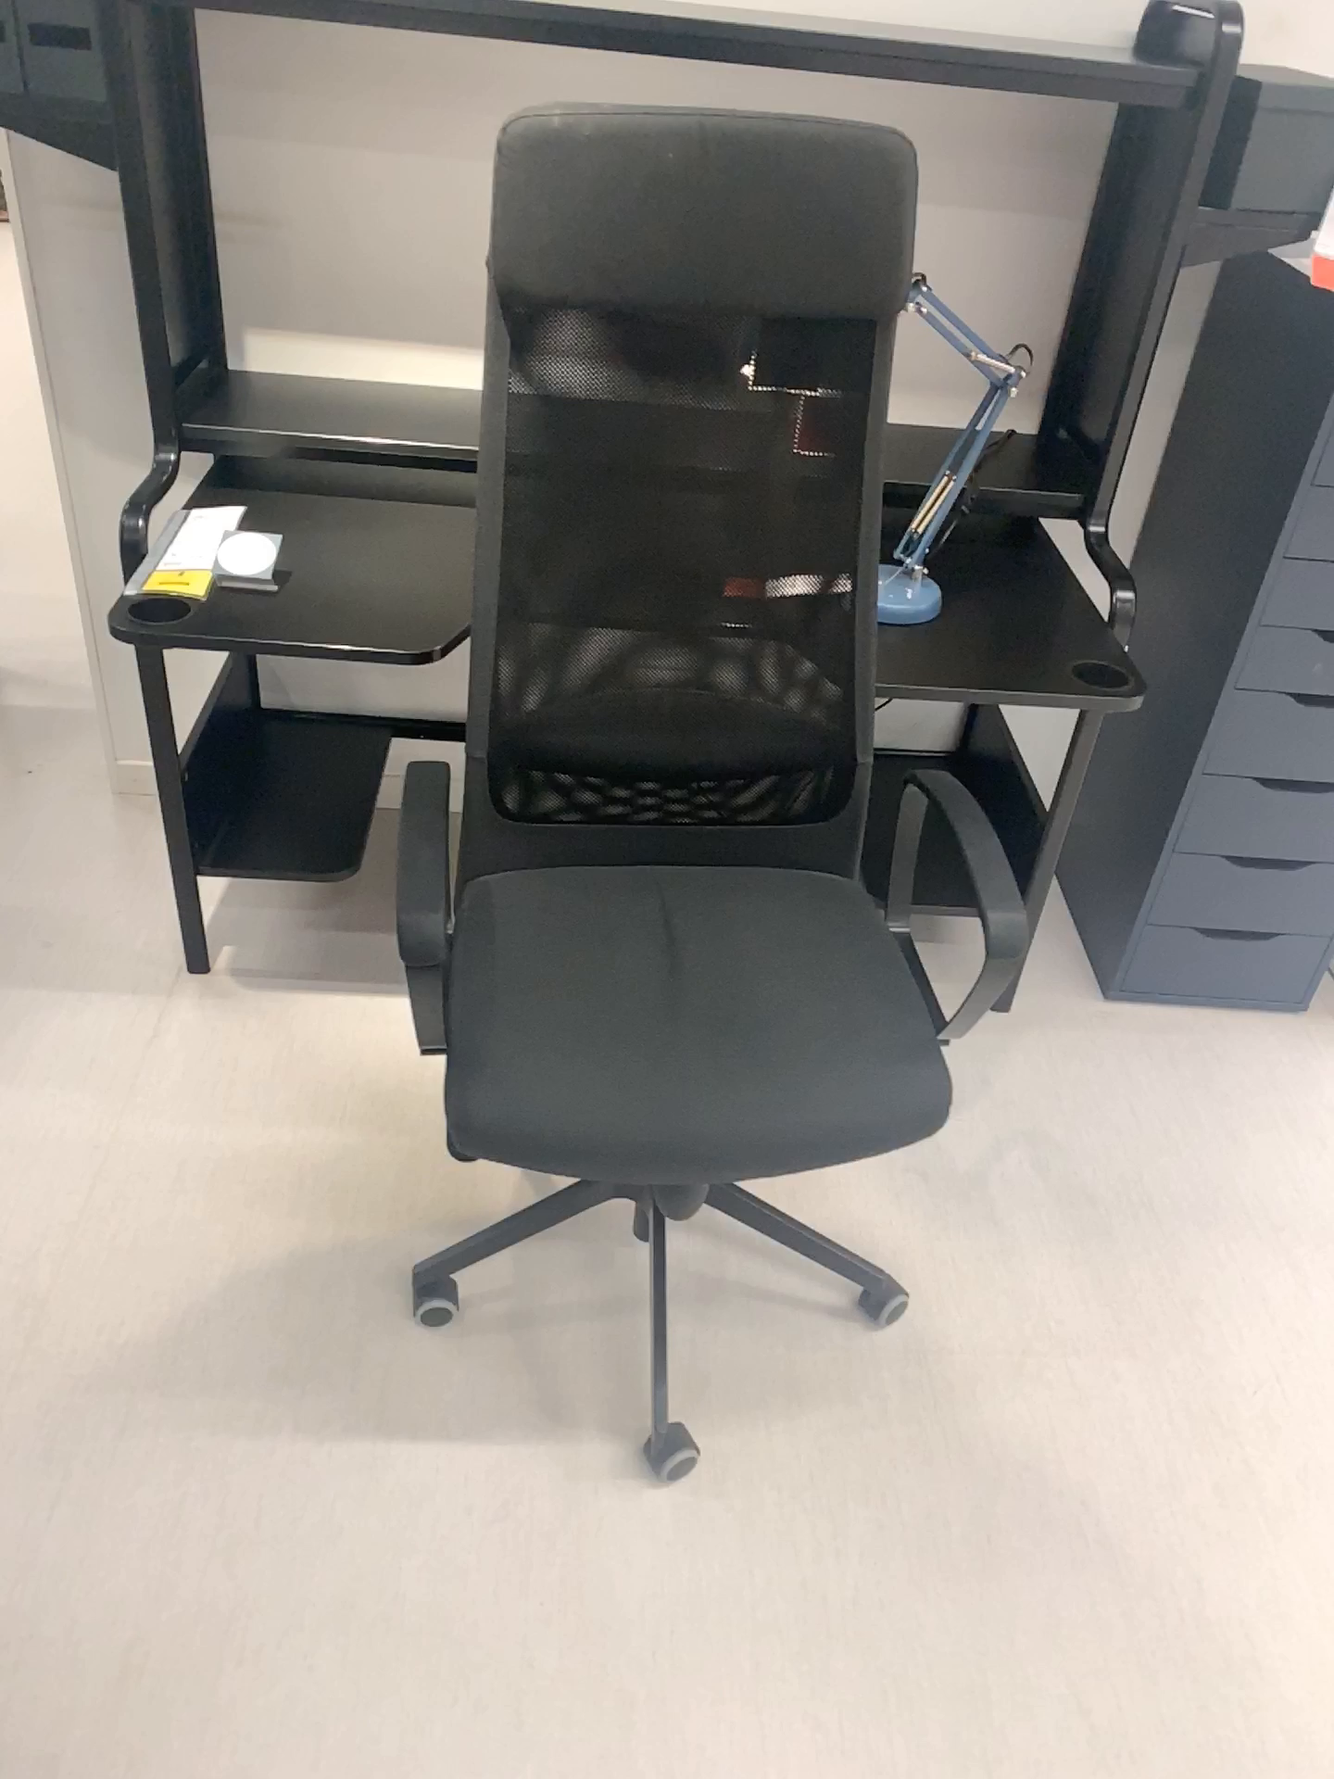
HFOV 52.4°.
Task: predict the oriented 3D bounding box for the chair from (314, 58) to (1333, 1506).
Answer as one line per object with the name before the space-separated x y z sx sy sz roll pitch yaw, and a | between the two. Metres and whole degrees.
chair | 0.044 -0.064 1.390 0.640 1.245 0.713 0 36 -8
